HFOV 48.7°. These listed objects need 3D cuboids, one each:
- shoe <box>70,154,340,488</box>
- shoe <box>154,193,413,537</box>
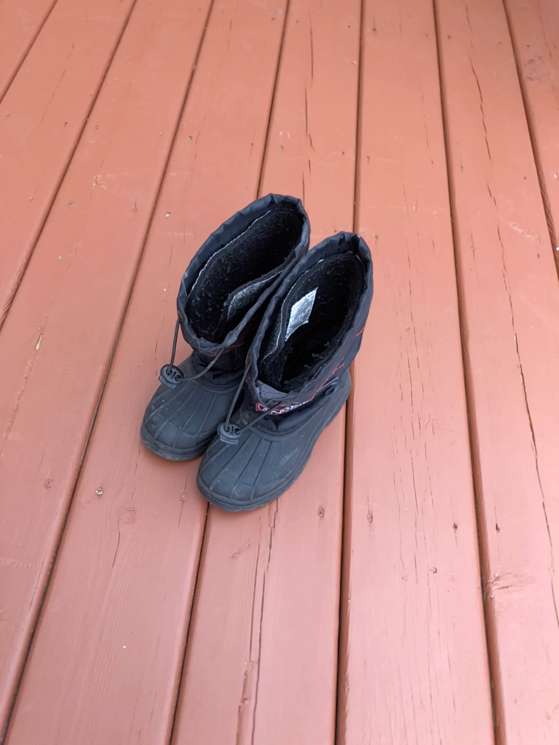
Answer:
[{"bbox_3d":[-0.059,-0.040,0.590,0.100,0.230,0.210,34,62,17],"label":"shoe"},{"bbox_3d":[0.004,0.003,0.570,0.100,0.230,0.210,30,61,15],"label":"shoe"}]
